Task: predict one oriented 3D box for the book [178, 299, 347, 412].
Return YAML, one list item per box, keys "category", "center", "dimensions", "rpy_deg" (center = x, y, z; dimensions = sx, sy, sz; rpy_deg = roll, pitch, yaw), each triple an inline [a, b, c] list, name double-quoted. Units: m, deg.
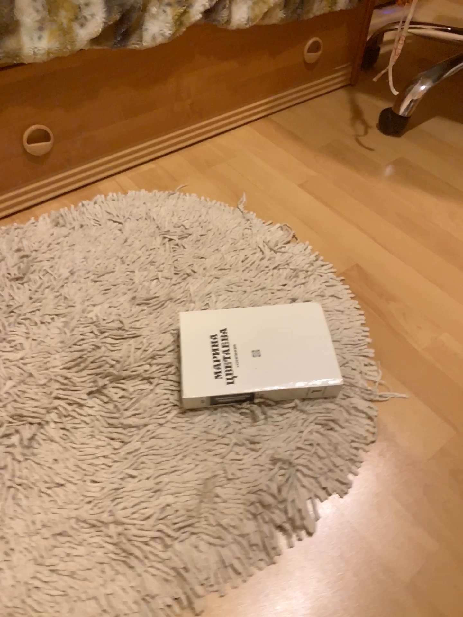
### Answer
- category: "book"
  center: [0.034, 0.059, 0.646]
  dimensions: [0.208, 0.040, 0.141]
  rpy_deg: [-3, 50, -5]
